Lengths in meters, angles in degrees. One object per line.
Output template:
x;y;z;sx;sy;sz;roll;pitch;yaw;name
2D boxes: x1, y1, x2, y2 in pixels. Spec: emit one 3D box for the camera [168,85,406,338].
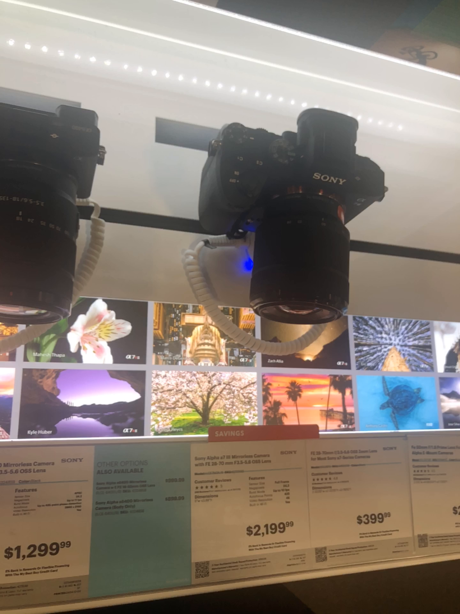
0.036;-0.057;0.371;0.140;0.090;0.140;5;77;-20;camera
